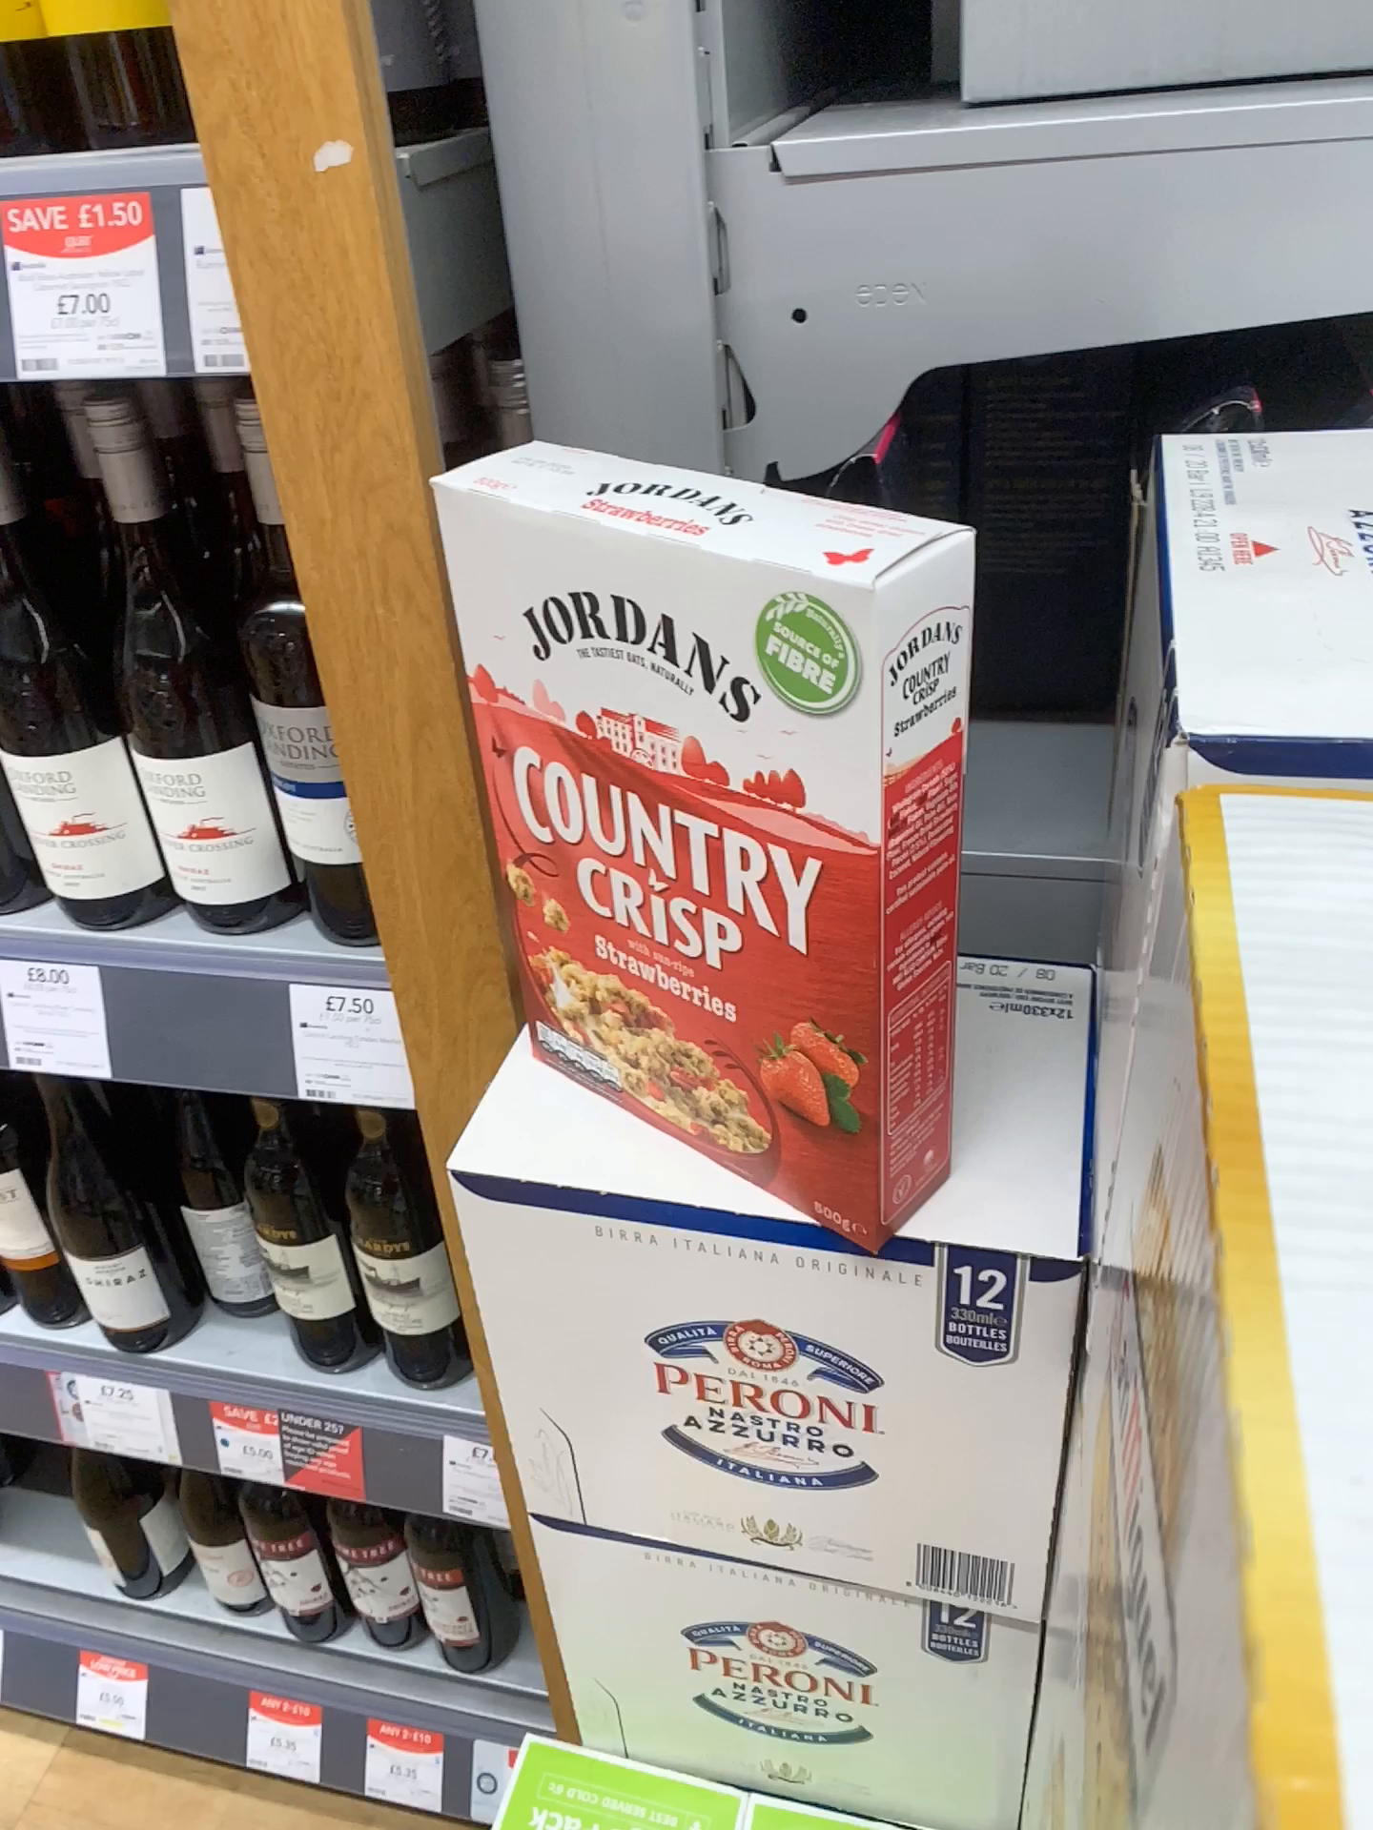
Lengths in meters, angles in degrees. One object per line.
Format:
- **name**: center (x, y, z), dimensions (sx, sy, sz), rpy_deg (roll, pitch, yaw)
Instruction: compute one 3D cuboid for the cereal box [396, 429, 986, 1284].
- **cereal box**: center (0.002, -0.021, 0.481), dimensions (0.191, 0.248, 0.050), rpy_deg (24, 43, 37)
